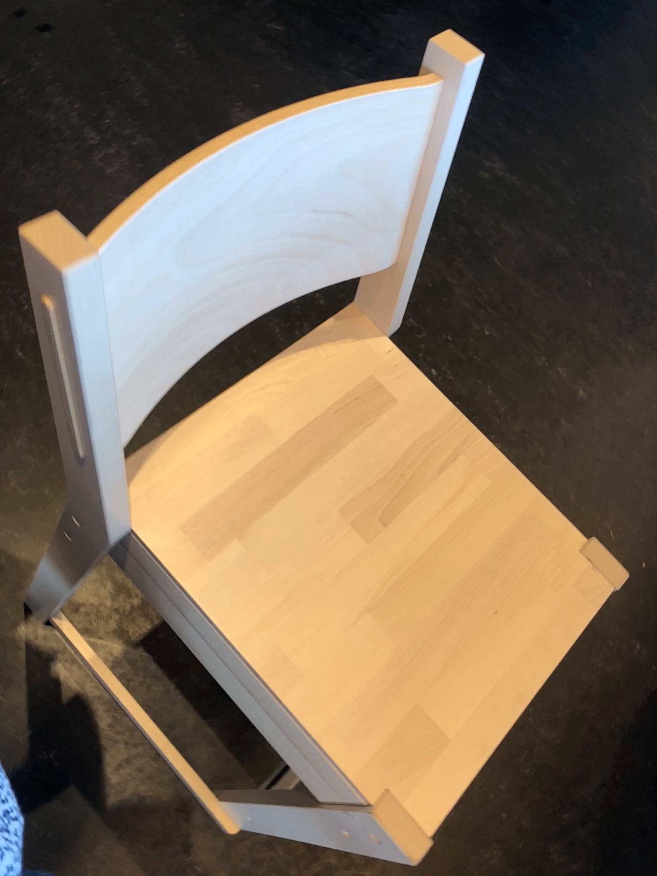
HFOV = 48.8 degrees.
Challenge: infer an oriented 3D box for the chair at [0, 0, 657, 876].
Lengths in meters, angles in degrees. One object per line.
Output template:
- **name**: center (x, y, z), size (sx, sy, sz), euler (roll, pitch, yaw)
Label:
- **chair**: center (0.006, 0.186, 0.790), size (0.461, 0.978, 0.540), euler (-39, 83, -29)
